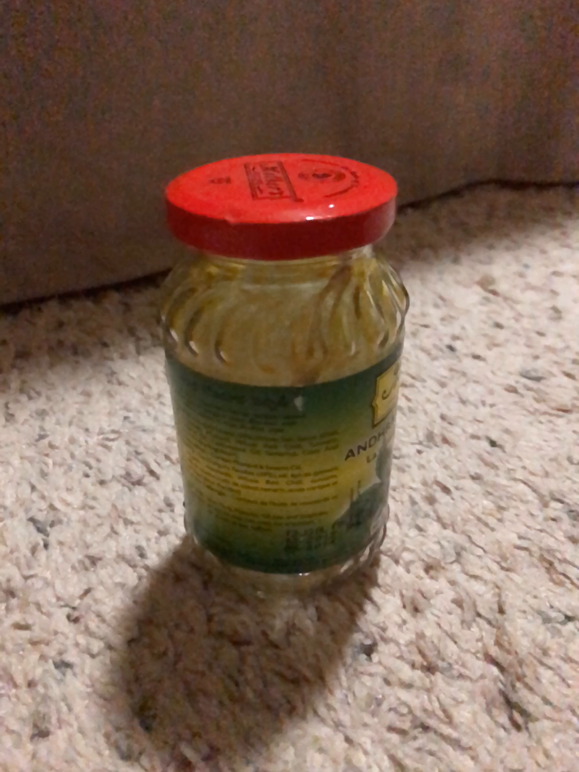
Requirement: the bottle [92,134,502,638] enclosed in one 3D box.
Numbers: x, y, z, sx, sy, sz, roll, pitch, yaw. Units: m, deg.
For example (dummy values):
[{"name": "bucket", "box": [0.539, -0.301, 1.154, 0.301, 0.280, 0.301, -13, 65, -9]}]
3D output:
[{"name": "bottle", "box": [0.000, -0.001, 0.170, 0.070, 0.110, 0.070, 1, 32, 0]}]
